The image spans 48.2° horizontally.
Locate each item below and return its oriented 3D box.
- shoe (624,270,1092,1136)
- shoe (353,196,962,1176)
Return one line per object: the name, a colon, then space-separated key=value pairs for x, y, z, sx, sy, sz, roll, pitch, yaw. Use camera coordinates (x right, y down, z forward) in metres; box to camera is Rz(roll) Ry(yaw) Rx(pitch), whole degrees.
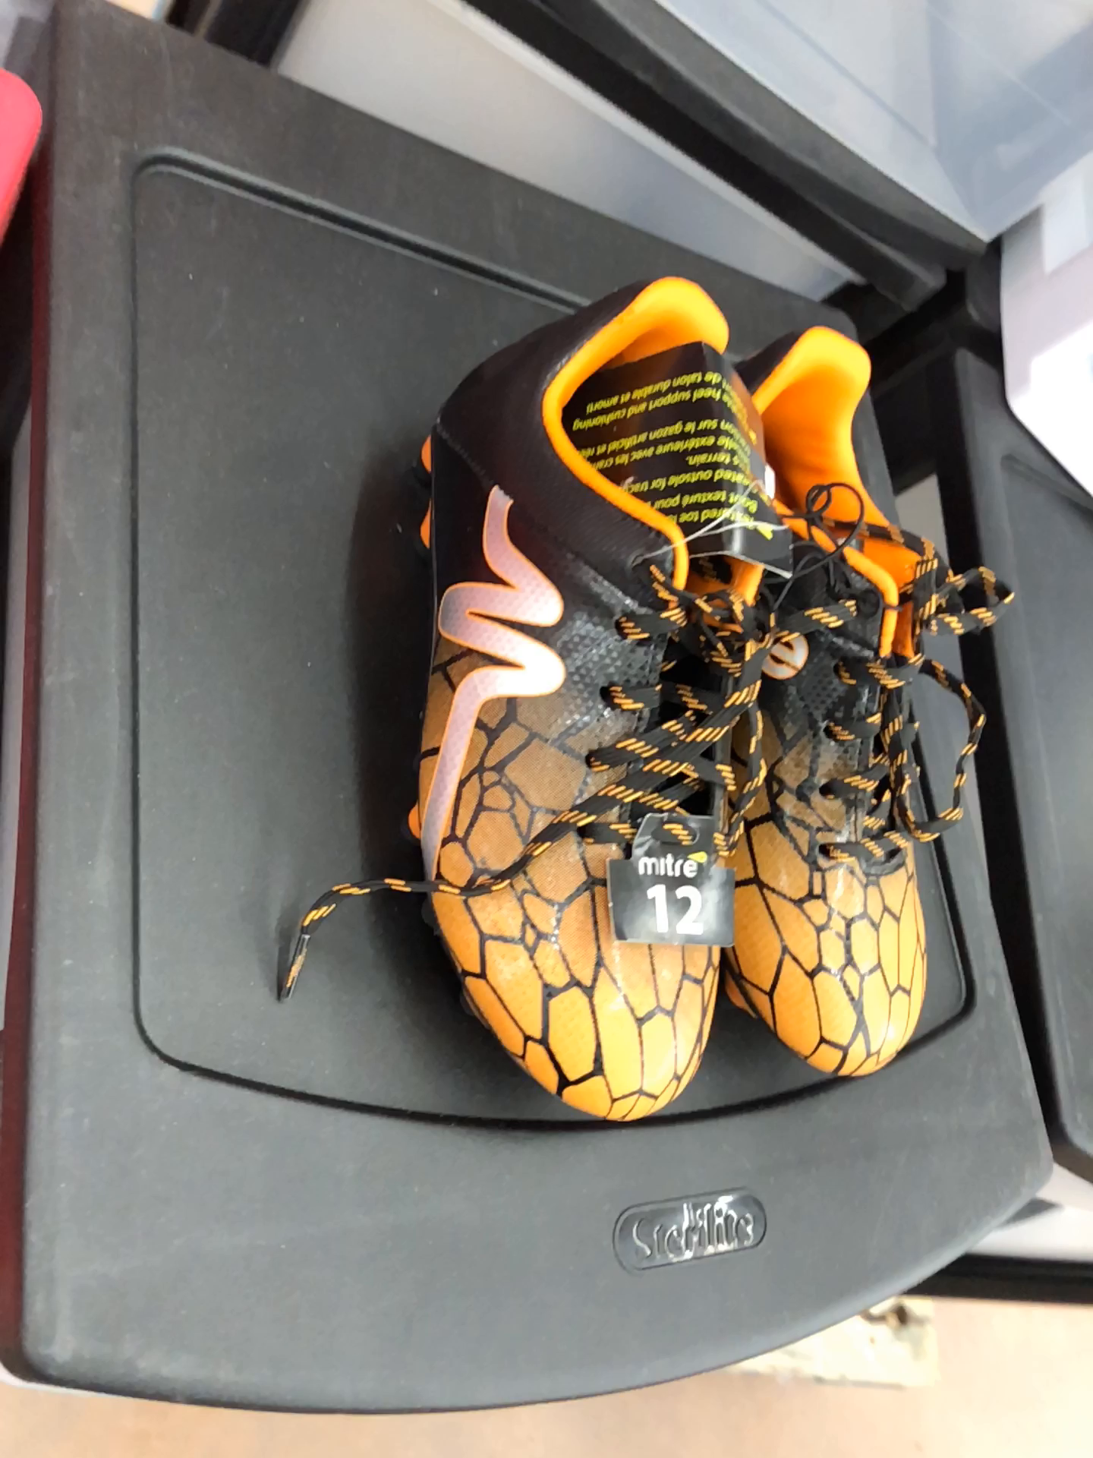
shoe: x=0.091 y=-0.005 z=0.322 sx=0.080 sy=0.070 sz=0.200 roll=2 pitch=71 yaw=-36
shoe: x=0.018 y=-0.007 z=0.291 sx=0.080 sy=0.080 sz=0.200 roll=3 pitch=70 yaw=-35
